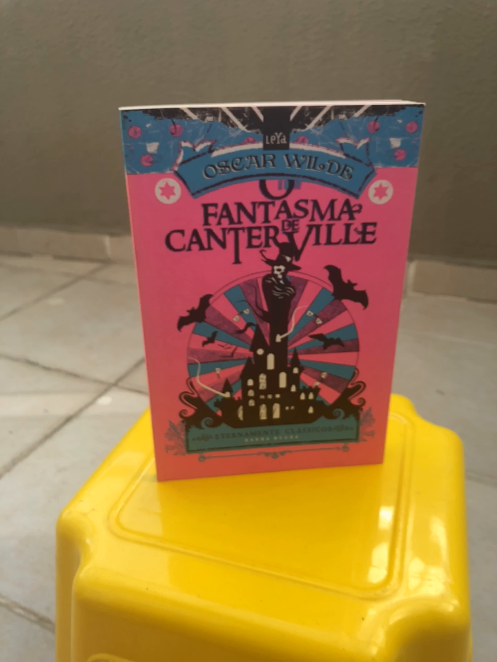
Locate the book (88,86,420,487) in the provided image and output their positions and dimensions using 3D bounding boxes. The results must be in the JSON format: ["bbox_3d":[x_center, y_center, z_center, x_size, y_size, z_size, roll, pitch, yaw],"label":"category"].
[{"bbox_3d":[0.006,-0.013,0.308,0.150,0.218,0.020,-4,26,-4],"label":"book"}]
